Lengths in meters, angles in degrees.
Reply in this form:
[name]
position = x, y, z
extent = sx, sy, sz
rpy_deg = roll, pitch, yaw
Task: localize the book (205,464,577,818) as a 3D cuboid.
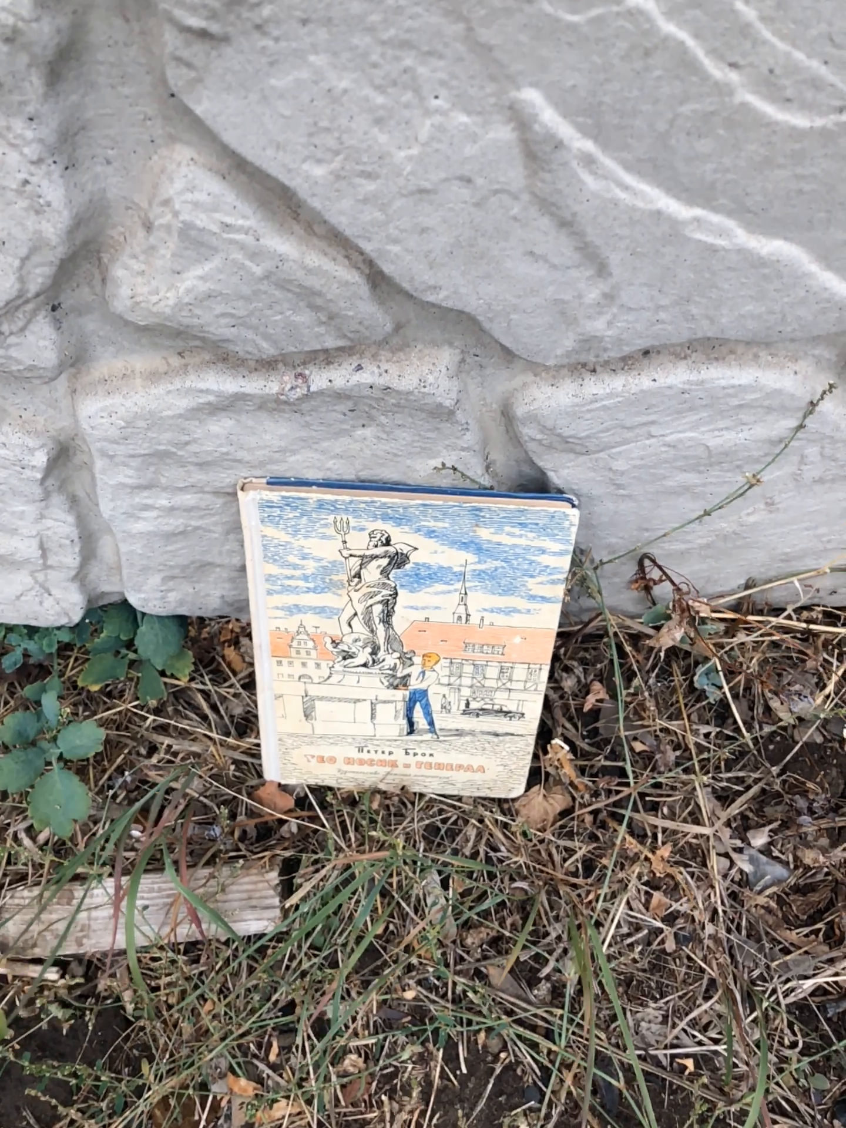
[book]
position = -0.012, 0.046, 0.447
extent = 0.150, 0.200, 0.020
rpy_deg = 5, 41, 7
